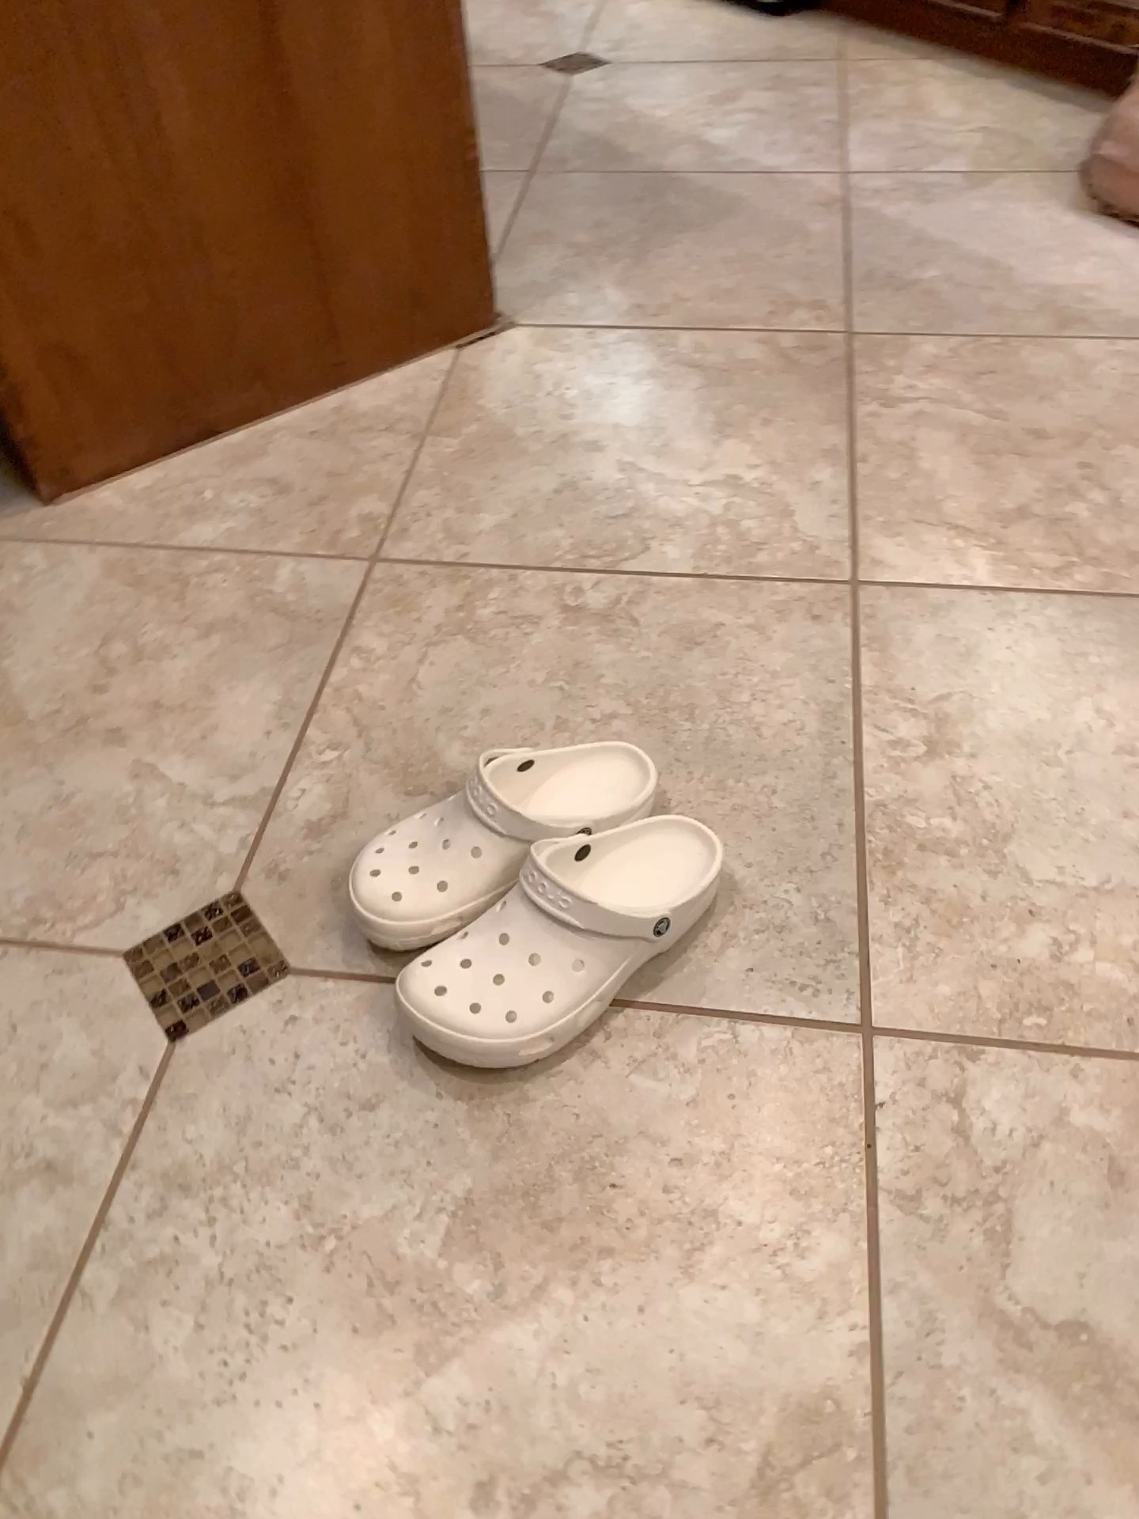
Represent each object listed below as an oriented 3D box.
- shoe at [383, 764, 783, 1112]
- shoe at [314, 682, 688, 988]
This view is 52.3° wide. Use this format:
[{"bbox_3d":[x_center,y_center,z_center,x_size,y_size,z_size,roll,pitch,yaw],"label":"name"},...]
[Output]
[{"bbox_3d":[0.014,0.121,0.842,0.261,0.073,0.119,-29,52,-20],"label":"shoe"},{"bbox_3d":[-0.051,0.053,0.924,0.261,0.073,0.130,-26,51,-18],"label":"shoe"}]
